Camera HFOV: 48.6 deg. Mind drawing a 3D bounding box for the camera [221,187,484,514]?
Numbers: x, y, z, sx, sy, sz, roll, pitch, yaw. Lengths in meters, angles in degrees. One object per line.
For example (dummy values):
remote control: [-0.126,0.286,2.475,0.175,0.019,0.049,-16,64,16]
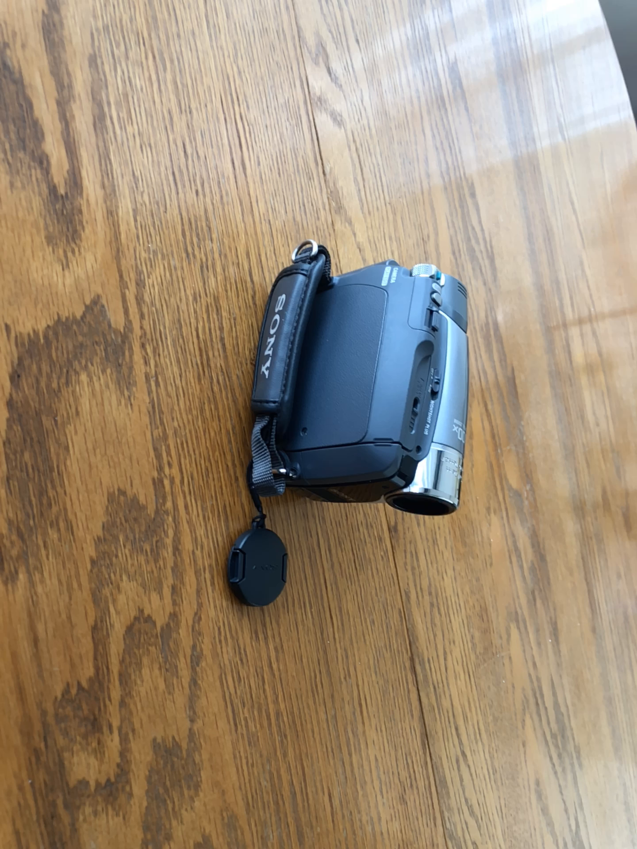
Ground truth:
camera: [0.020,-0.026,0.317,0.080,0.072,0.112,31,60,-45]
